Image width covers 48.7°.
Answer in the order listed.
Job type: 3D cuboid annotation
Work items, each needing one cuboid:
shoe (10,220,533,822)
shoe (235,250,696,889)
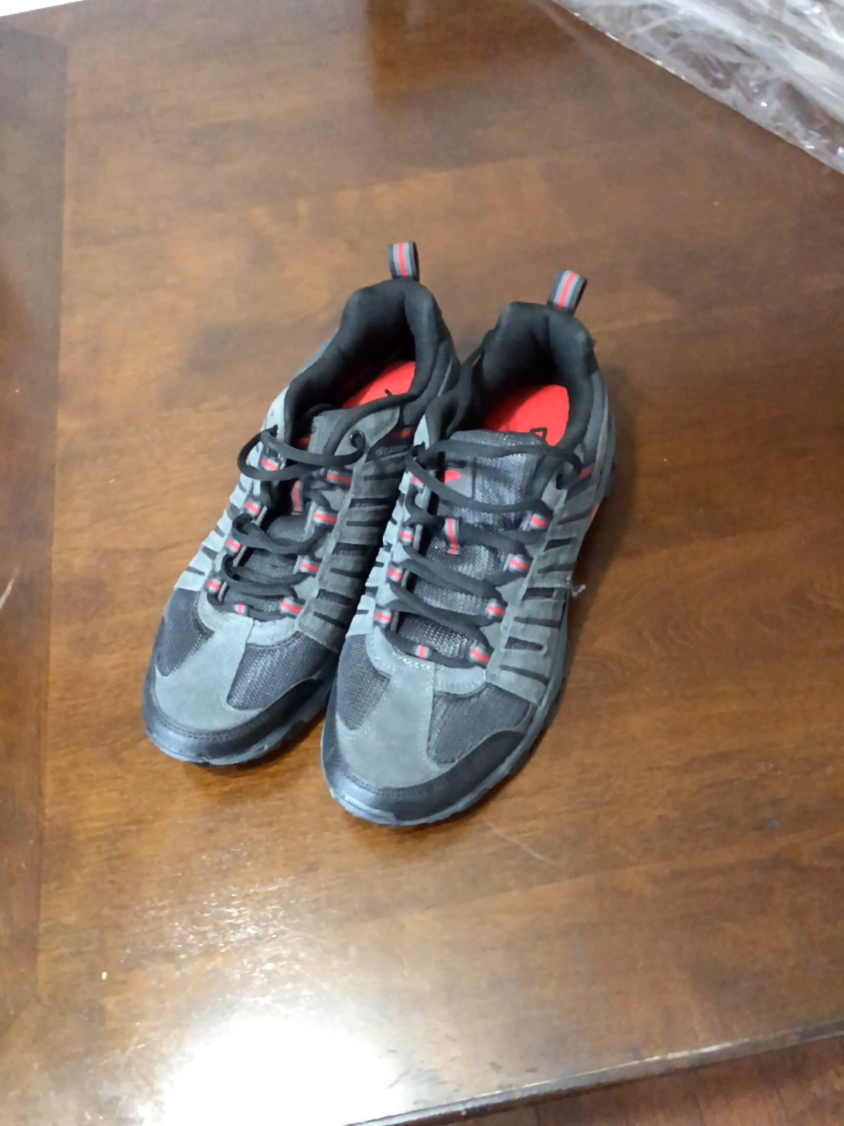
[{"bbox_3d":[-0.057,-0.035,0.504,0.120,0.100,0.300,22,64,17],"label":"shoe"},{"bbox_3d":[0.037,-0.011,0.481,0.120,0.100,0.300,17,62,15],"label":"shoe"}]
